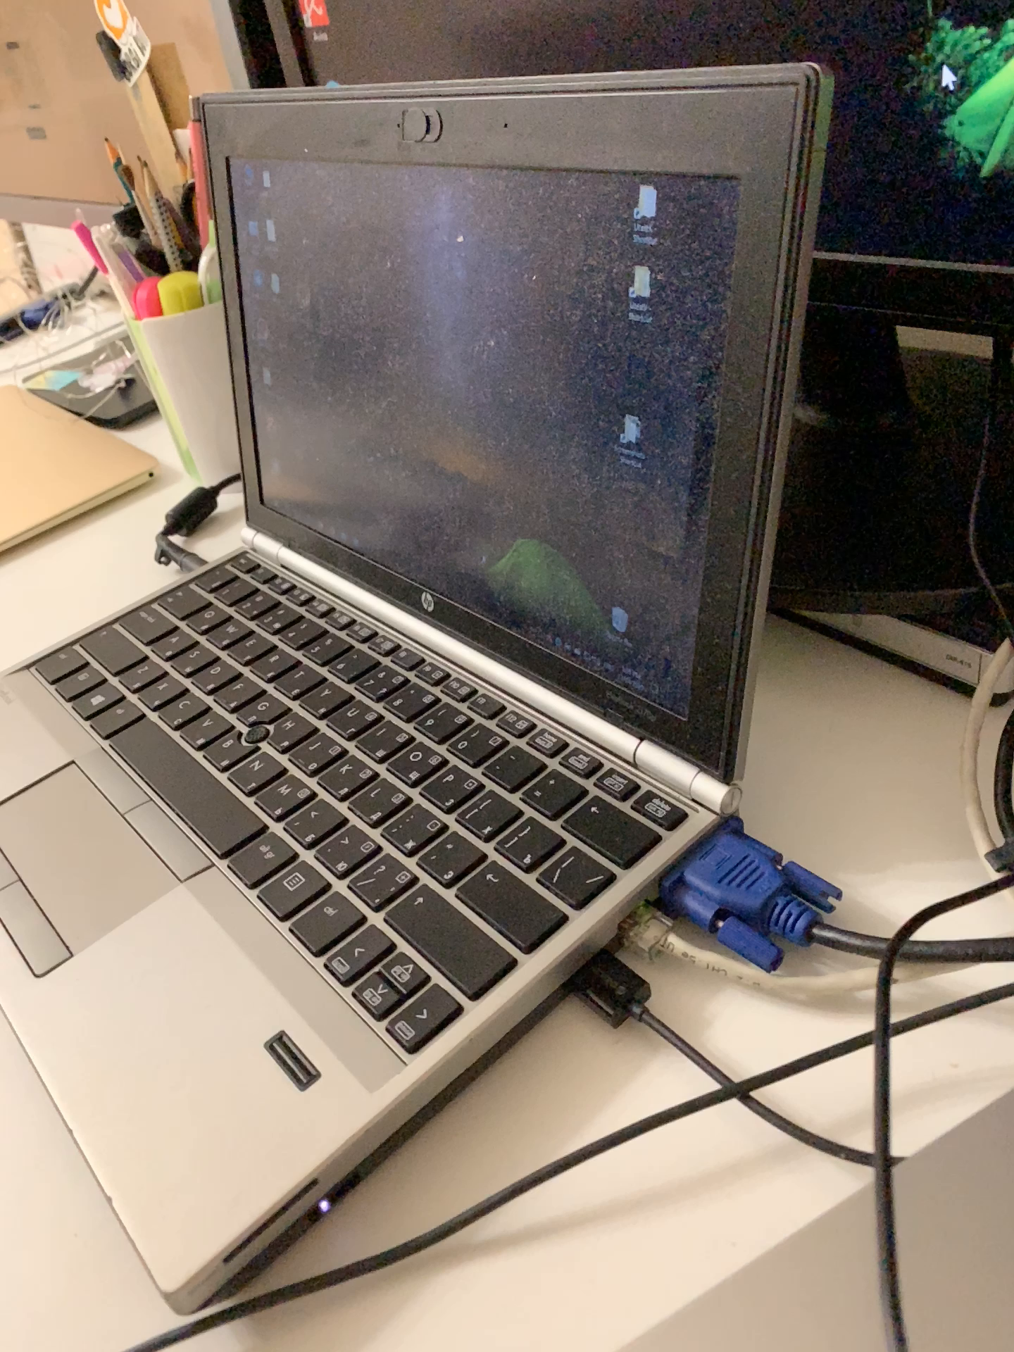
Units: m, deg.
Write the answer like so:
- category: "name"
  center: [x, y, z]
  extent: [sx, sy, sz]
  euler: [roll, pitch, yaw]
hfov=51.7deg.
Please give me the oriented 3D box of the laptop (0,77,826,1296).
- category: "laptop"
  center: [-0.094, -0.049, 0.314]
  extent: [0.226, 0.176, 0.285]
  euler: [-34, 40, -26]
